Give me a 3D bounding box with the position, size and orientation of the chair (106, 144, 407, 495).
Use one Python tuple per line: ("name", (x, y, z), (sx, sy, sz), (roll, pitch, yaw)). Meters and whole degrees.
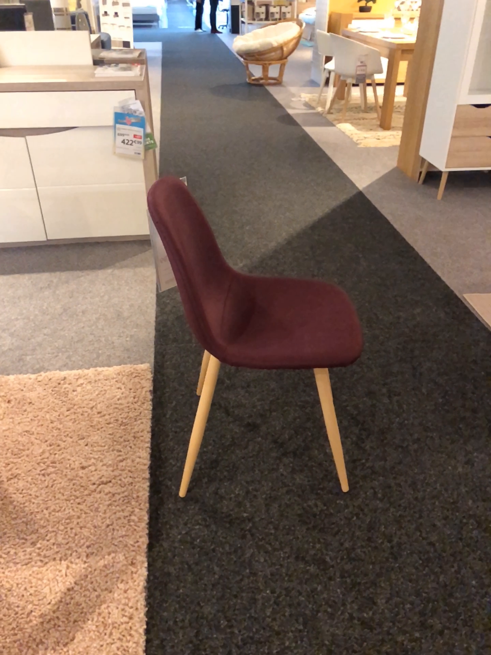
("chair", (0.018, -0.019, 1.426), (0.570, 0.795, 0.473), (0, 32, -1))
